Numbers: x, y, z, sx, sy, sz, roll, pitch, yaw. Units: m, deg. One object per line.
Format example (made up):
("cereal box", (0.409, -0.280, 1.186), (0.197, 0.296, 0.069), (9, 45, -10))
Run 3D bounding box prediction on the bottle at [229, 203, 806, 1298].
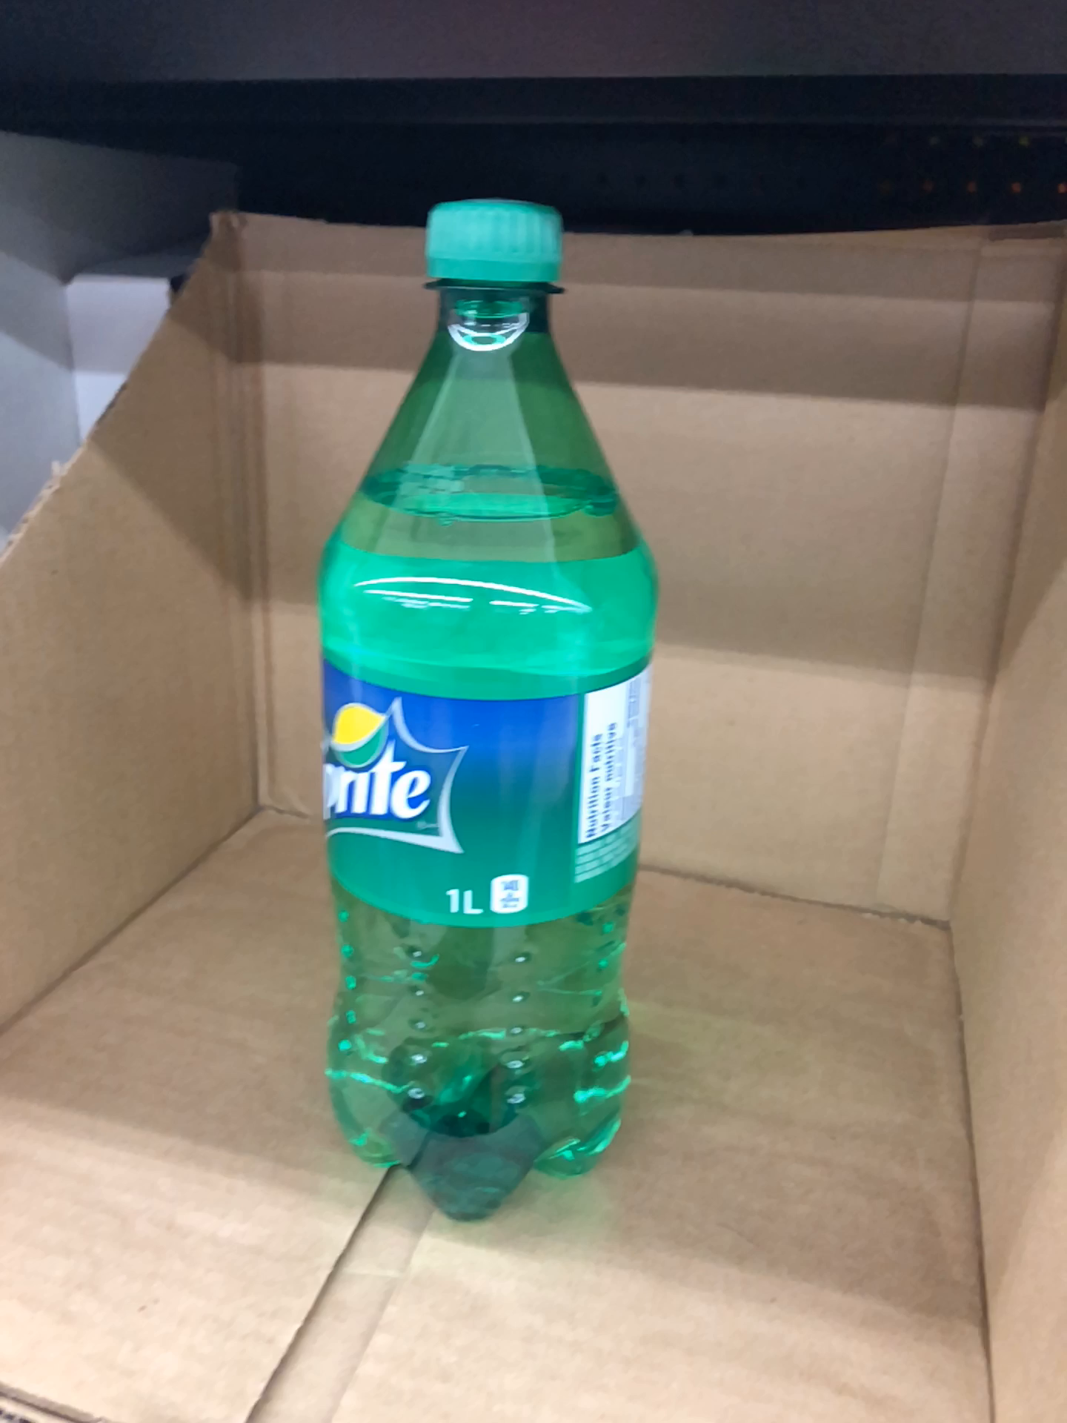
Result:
("bottle", (-0.005, 0.005, 0.307), (0.090, 0.248, 0.090), (1, 22, 0))
